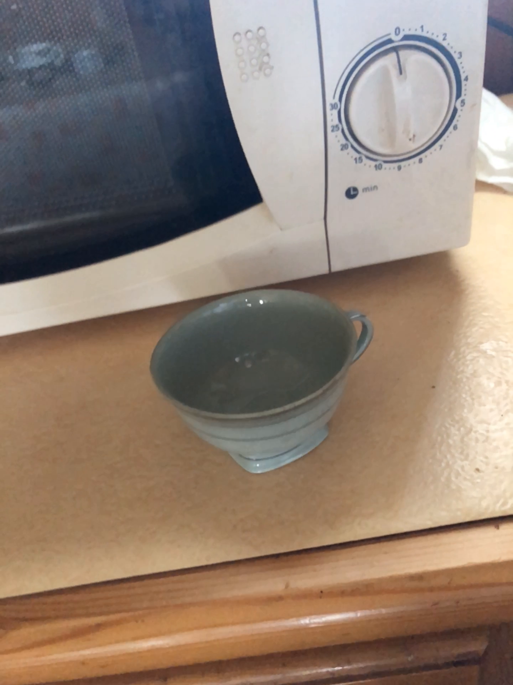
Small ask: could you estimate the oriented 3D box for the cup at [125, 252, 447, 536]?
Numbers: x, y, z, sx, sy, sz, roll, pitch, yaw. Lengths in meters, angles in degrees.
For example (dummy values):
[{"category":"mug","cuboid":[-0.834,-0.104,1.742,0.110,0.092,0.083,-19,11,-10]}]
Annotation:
[{"category":"cup","cuboid":[0.012,0.013,0.238,0.100,0.040,0.080,-28,40,-20]}]
